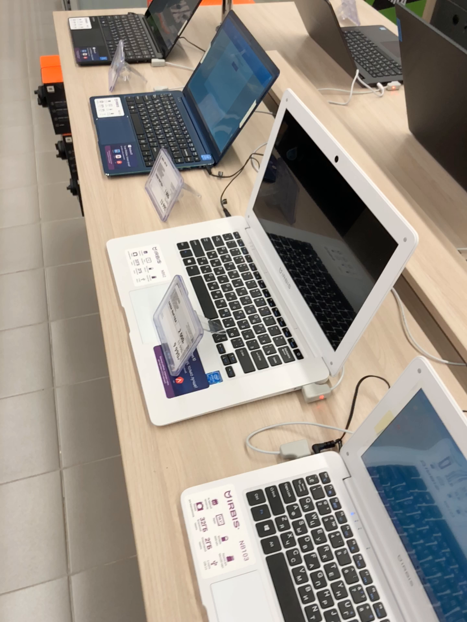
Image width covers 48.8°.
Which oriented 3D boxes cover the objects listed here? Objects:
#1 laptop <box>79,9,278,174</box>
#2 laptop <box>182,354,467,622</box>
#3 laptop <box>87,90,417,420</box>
[{"bbox_3d":[-0.116,-0.440,1.004,0.311,0.158,0.299,-11,49,-12],"label":"laptop"},{"bbox_3d":[0.093,0.208,0.414,0.221,0.167,0.260,-10,47,-13],"label":"laptop"},{"bbox_3d":[-0.007,-0.092,0.661,0.279,0.207,0.335,-13,49,-14],"label":"laptop"}]
